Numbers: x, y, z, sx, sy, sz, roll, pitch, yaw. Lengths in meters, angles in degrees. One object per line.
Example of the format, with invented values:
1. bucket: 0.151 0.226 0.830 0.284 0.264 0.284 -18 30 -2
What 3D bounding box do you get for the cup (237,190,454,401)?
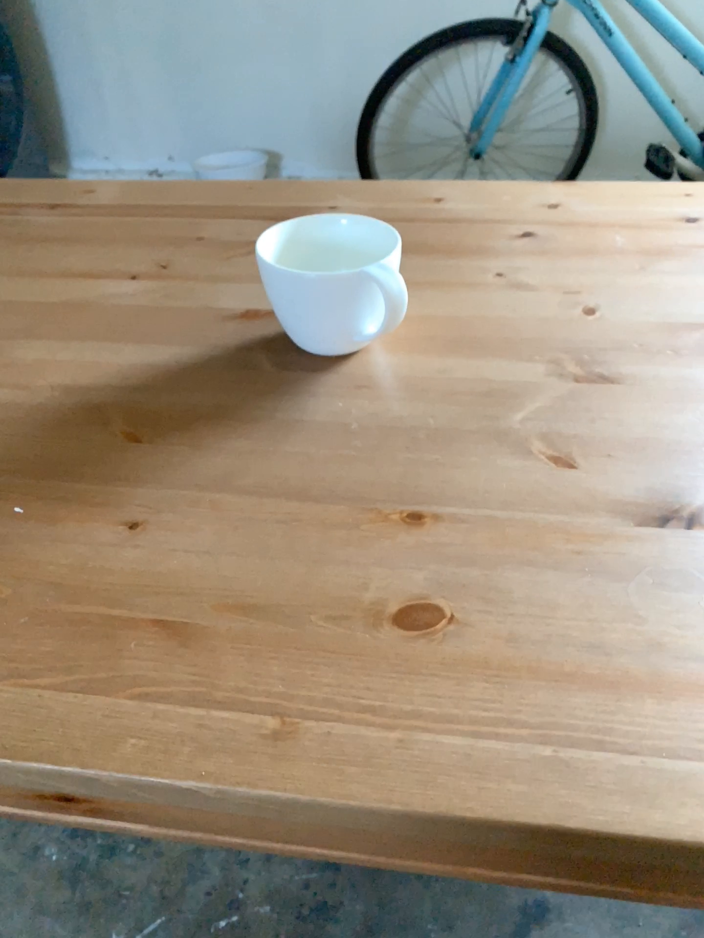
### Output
1. cup: -0.004 -0.137 0.559 0.131 0.099 0.090 28 50 32
